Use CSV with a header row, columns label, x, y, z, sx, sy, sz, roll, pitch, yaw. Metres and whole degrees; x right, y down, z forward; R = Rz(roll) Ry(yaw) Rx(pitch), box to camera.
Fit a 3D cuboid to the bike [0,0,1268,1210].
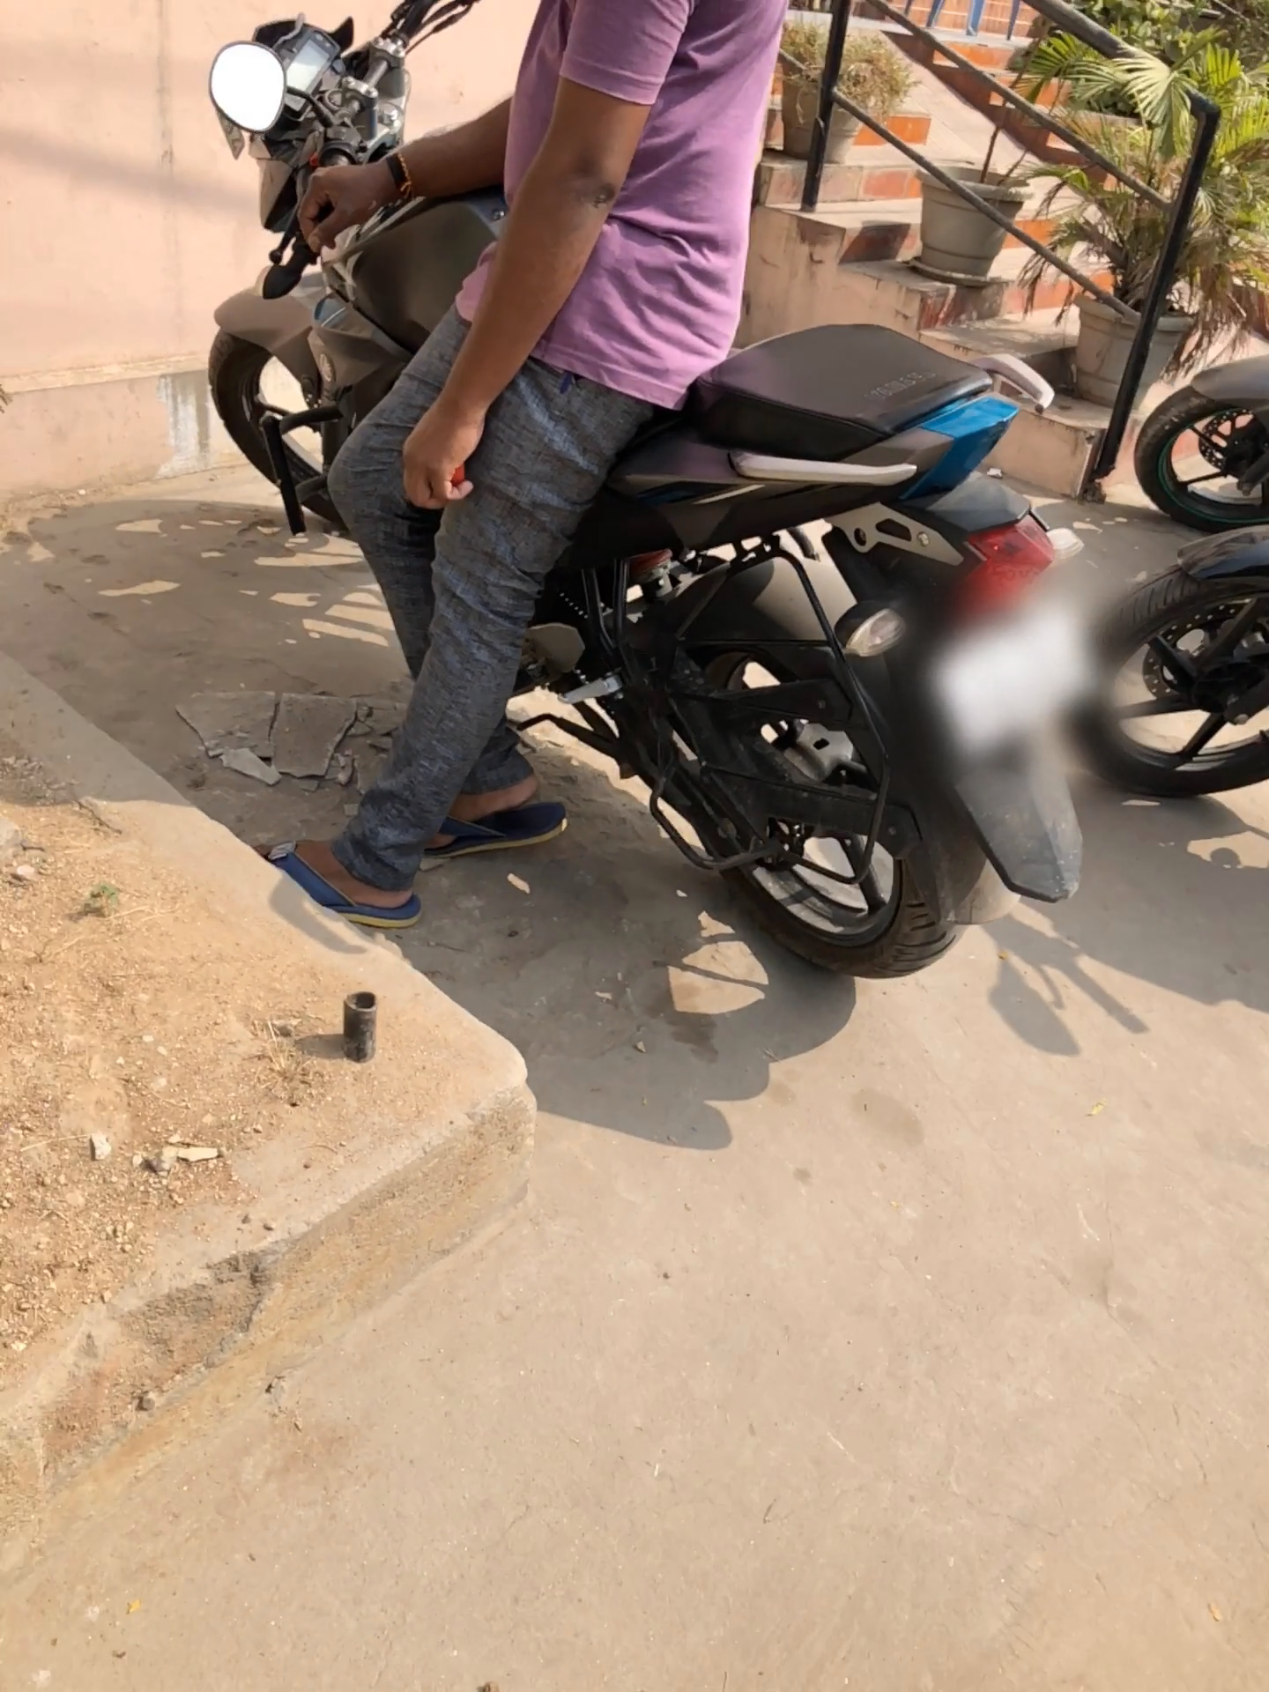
label,x,y,z,sx,sy,sz,roll,pitch,yaw
bike,-0.298,-0.726,1.926,0.813,1.221,1.826,-22,49,-39
